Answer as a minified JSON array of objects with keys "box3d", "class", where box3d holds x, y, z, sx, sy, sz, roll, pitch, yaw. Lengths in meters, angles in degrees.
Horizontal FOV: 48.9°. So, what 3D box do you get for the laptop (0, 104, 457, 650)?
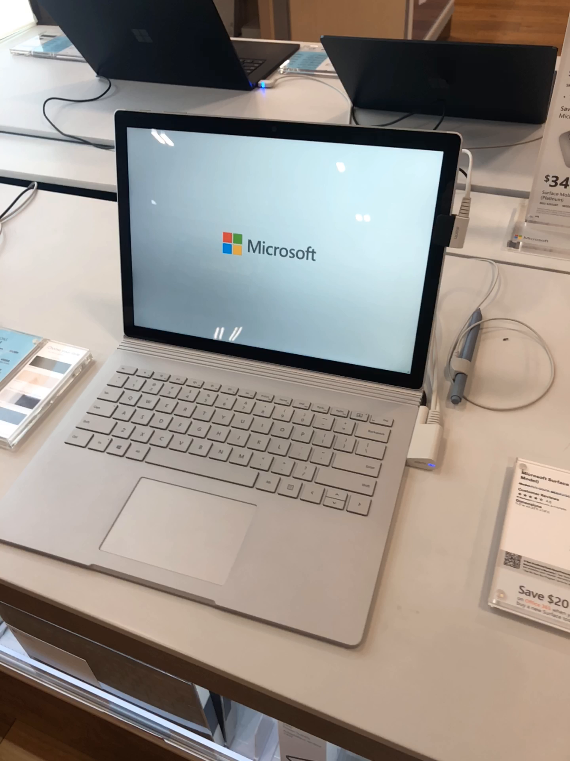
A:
[{"box3d":[-0.052,-0.036,0.472,0.291,0.191,0.312,11,47,16],"class":"laptop"}]
